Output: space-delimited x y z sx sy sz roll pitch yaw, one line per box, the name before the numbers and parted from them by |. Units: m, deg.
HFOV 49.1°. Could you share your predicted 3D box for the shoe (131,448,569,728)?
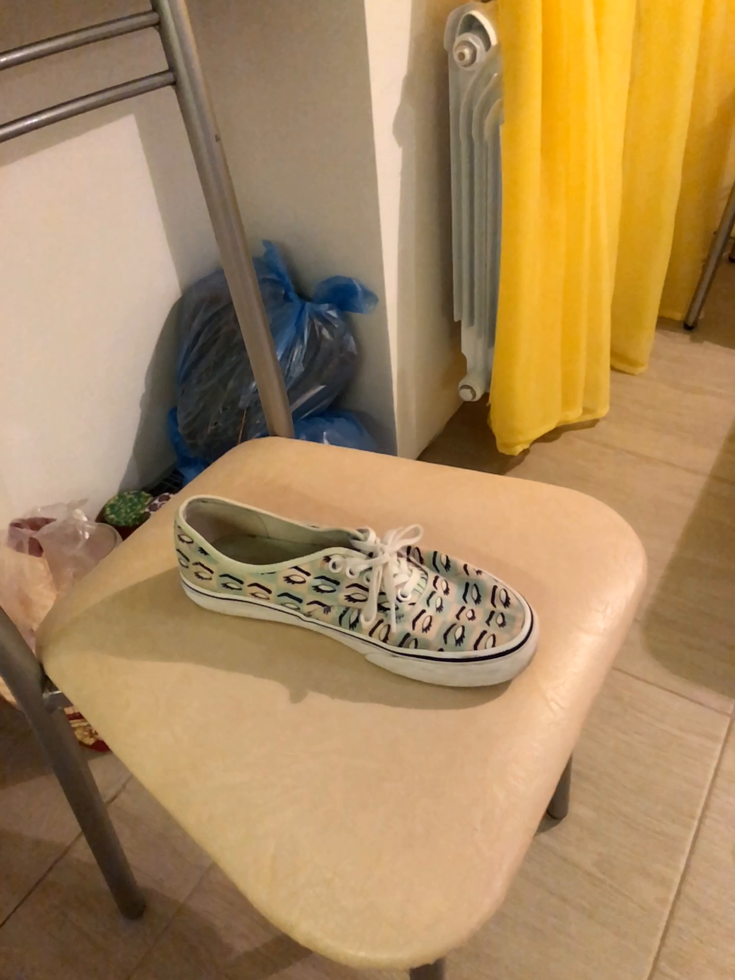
shoe | -0.011 0.055 0.539 0.260 0.068 0.111 13 44 19
